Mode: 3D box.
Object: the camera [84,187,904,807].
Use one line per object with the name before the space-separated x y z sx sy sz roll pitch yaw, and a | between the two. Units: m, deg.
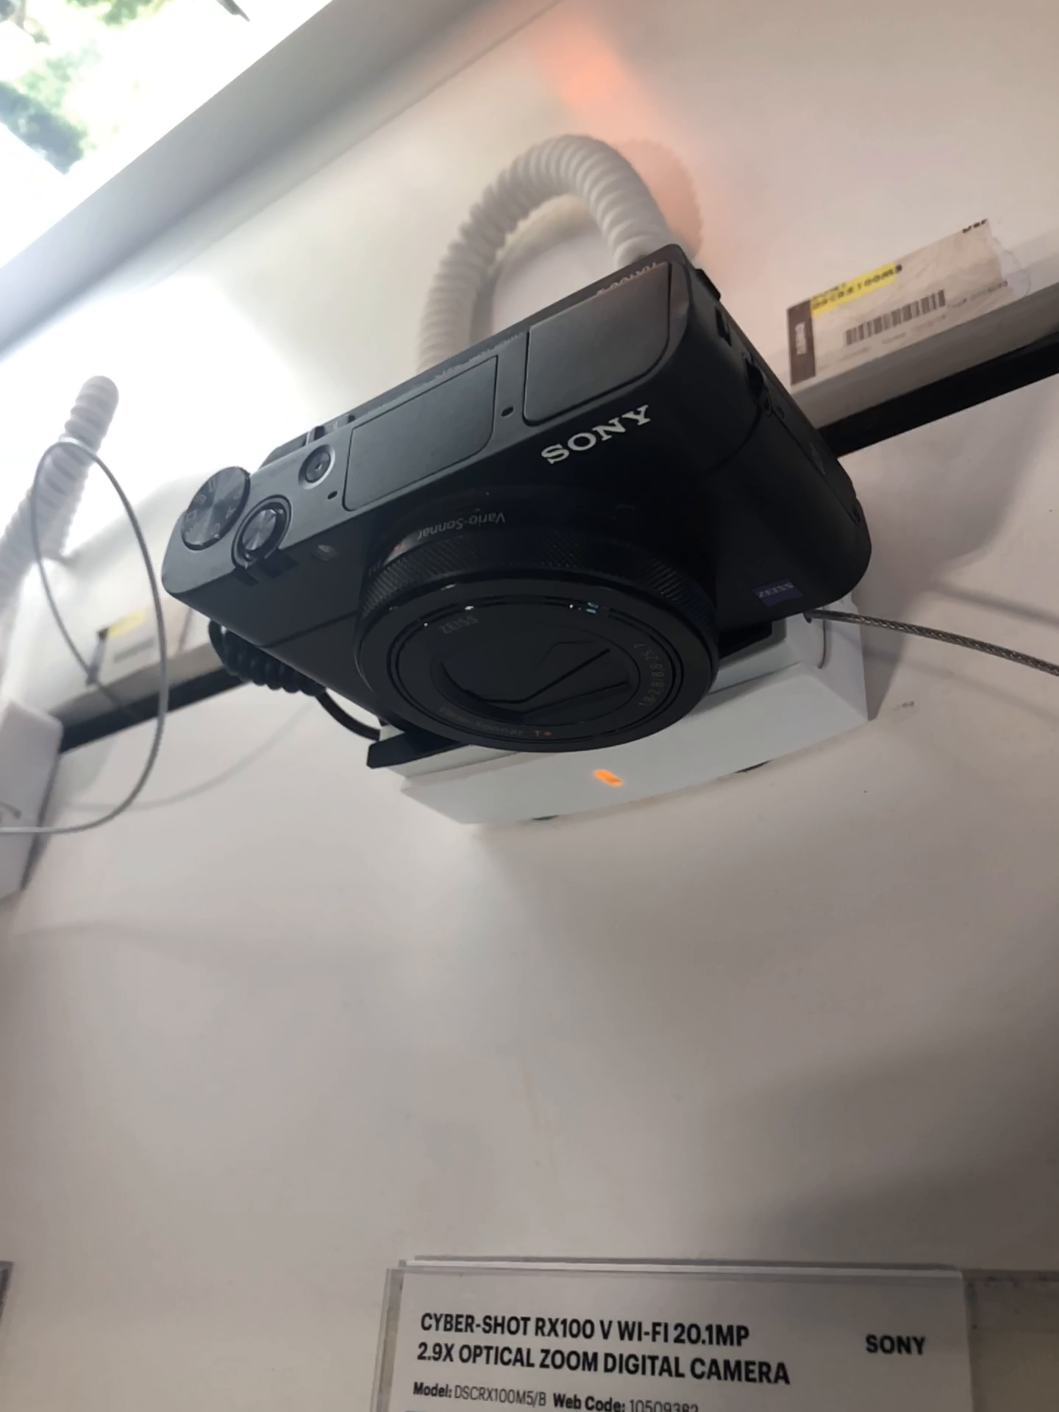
camera | -0.006 -0.021 0.178 0.101 0.063 0.032 -16 55 34
